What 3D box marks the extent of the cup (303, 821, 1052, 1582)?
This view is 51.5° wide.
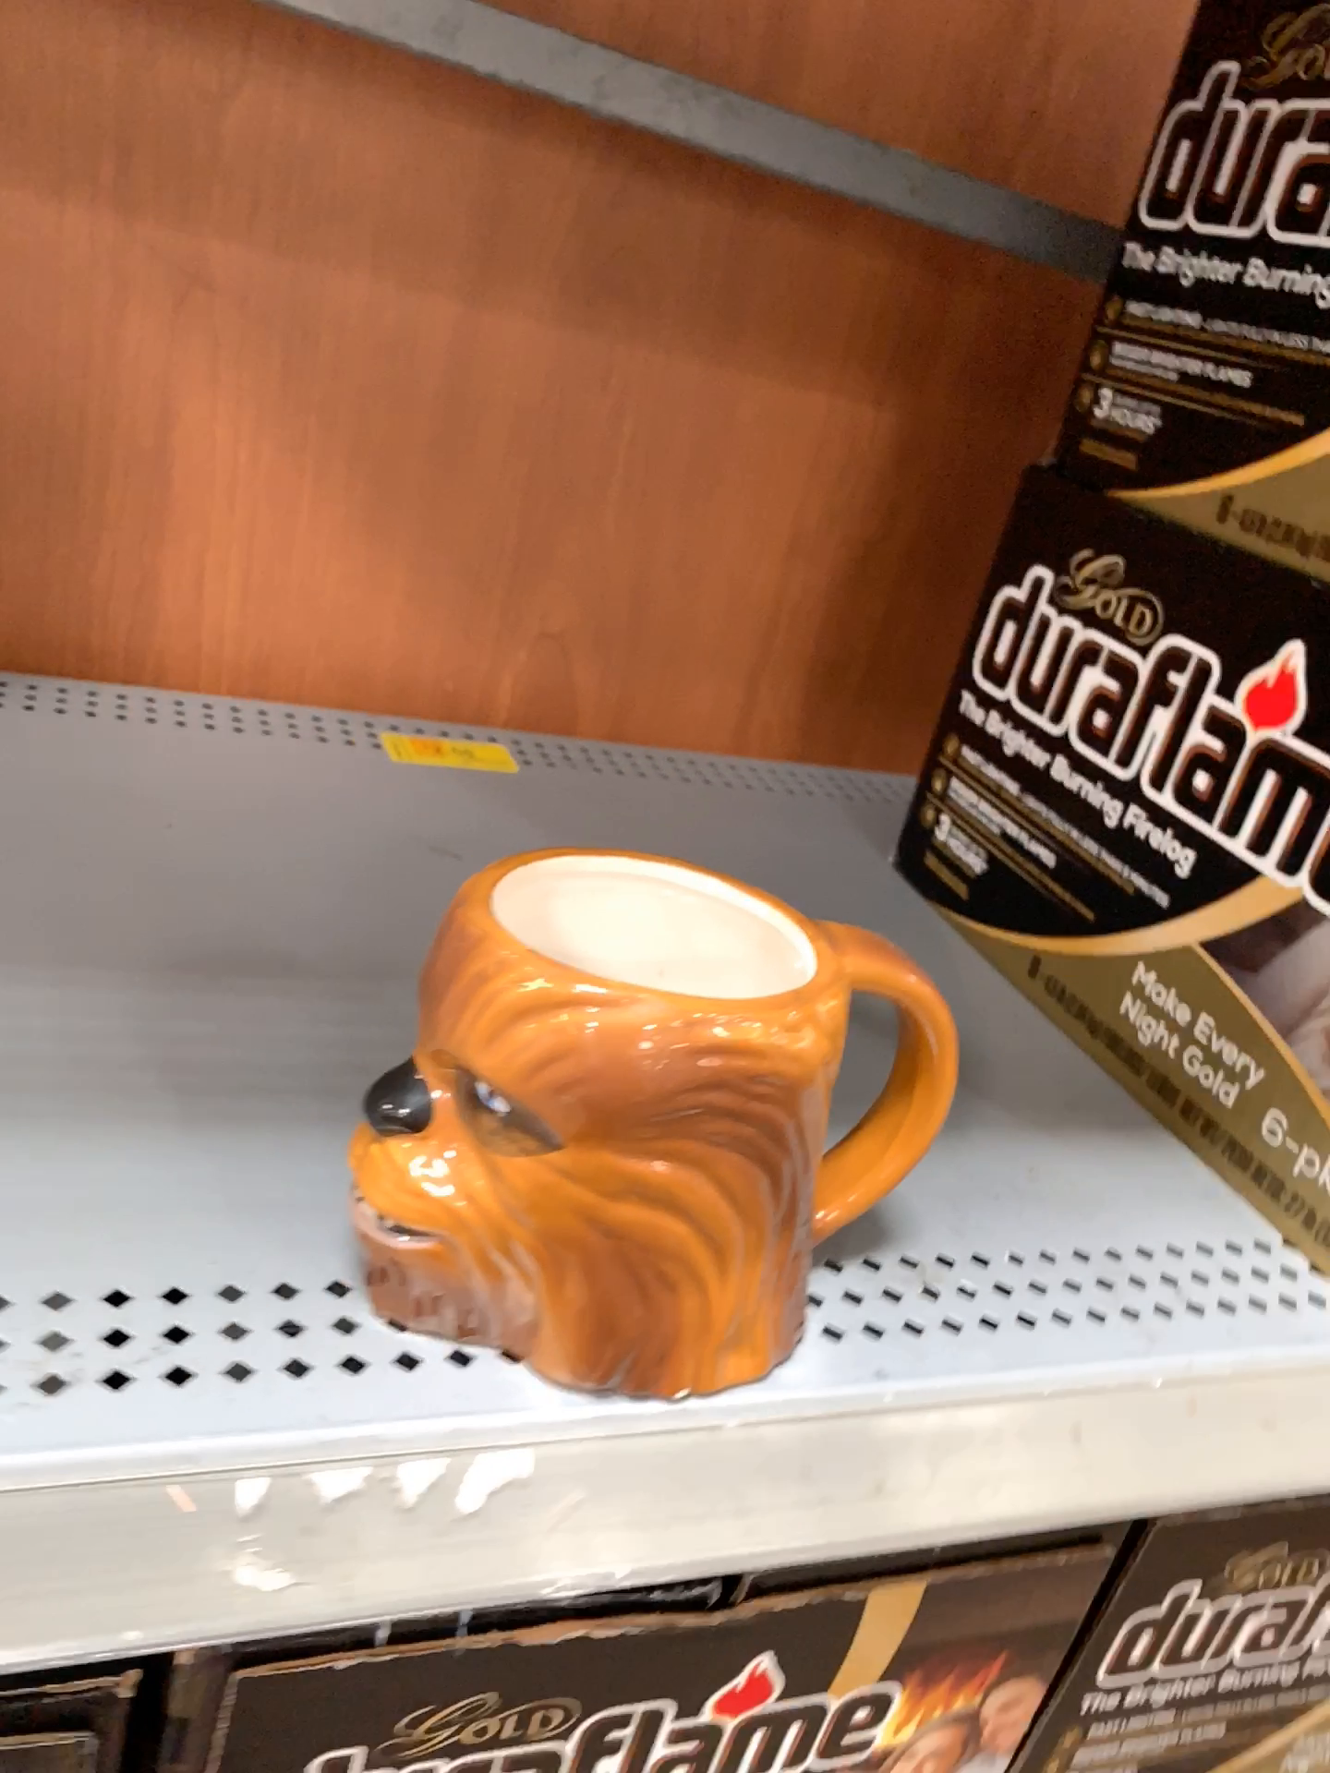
[{"bbox_3d":[-0.009,0.073,0.339,0.131,0.138,0.098,5,26,-23],"label":"cup"}]
